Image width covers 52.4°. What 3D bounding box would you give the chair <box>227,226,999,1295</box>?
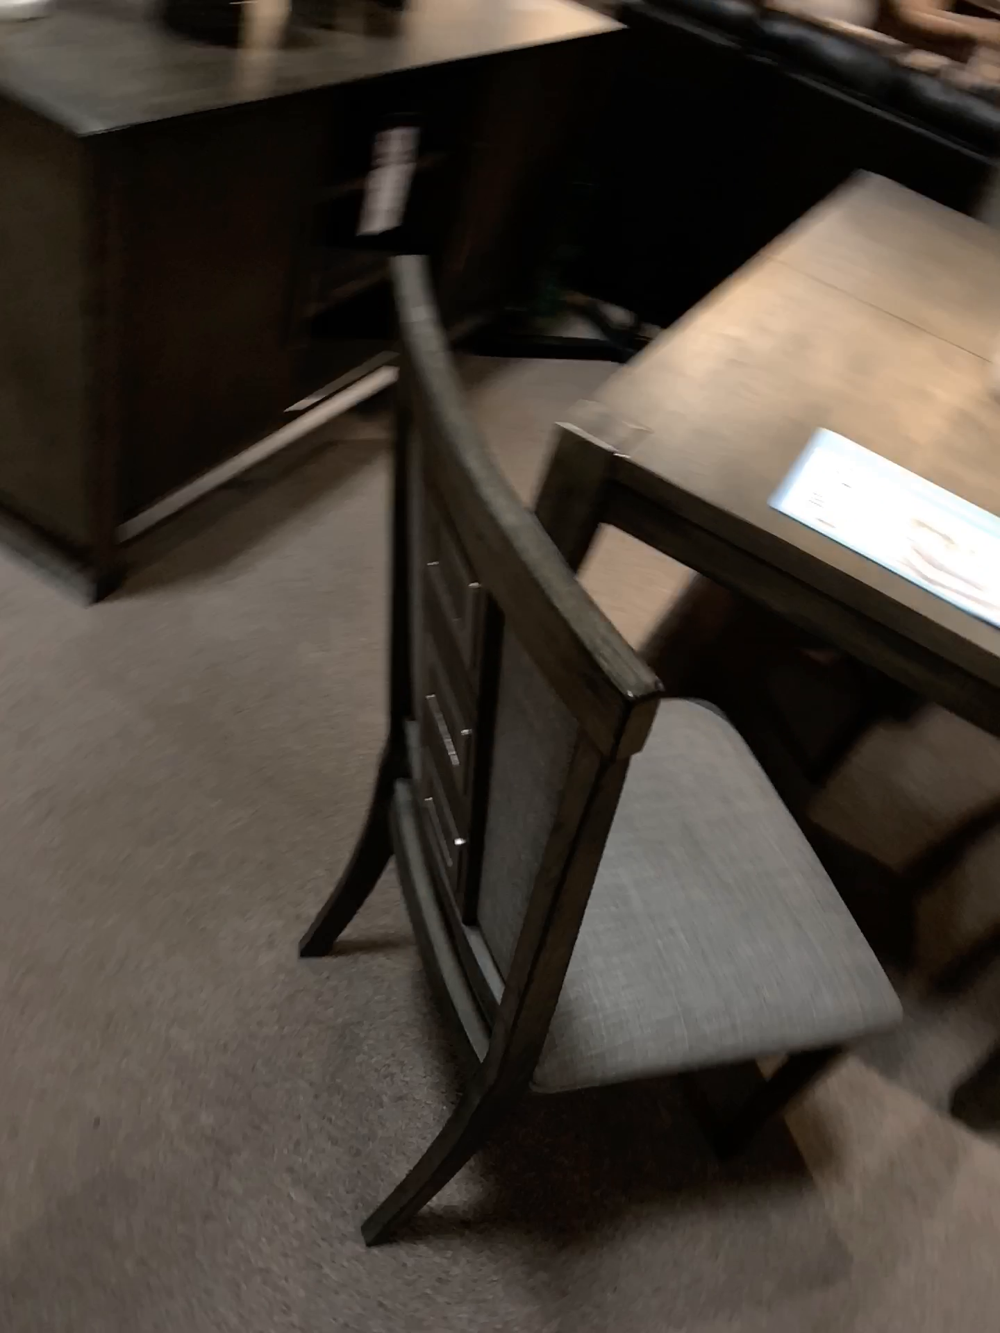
[{"bbox_3d":[0.115,0.161,1.116,0.644,0.998,0.515,-5,48,-25],"label":"chair"}]
